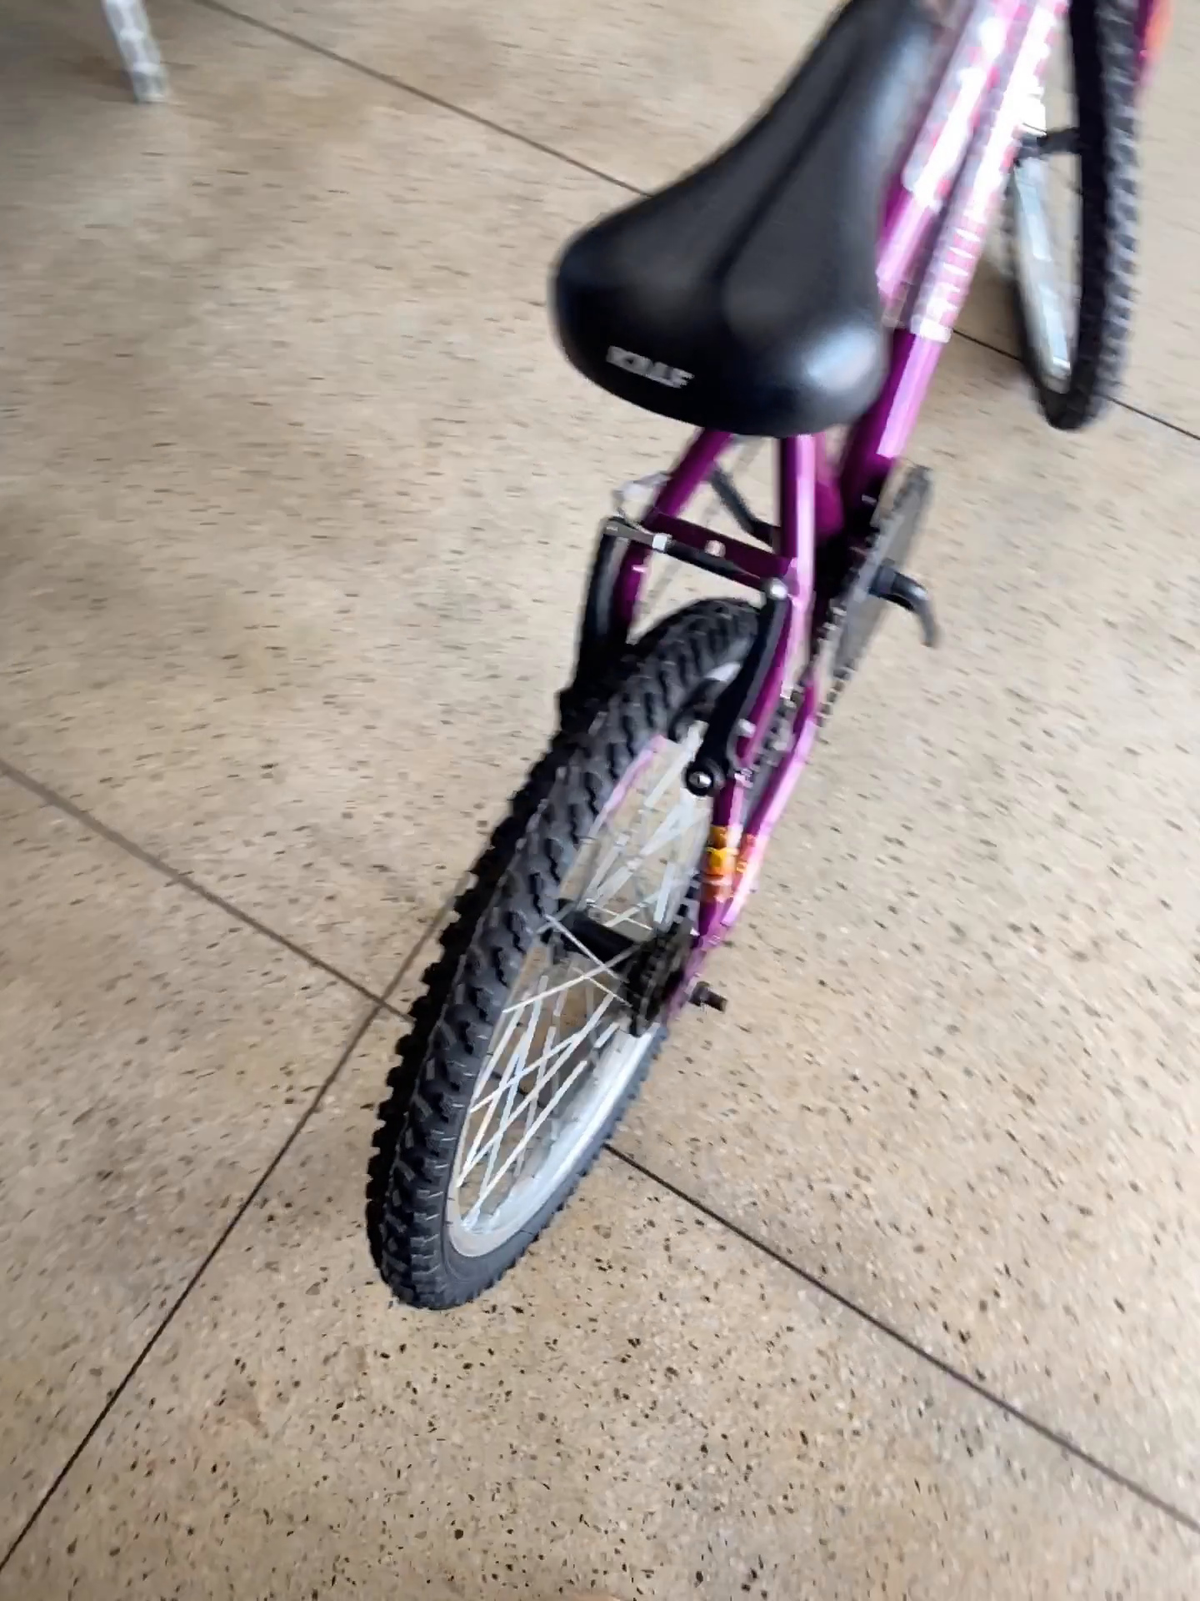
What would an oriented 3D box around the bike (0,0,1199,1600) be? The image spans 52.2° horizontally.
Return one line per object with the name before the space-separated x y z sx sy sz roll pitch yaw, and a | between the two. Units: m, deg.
bike | 0.121 -0.313 0.776 0.615 0.937 1.264 22 70 10
